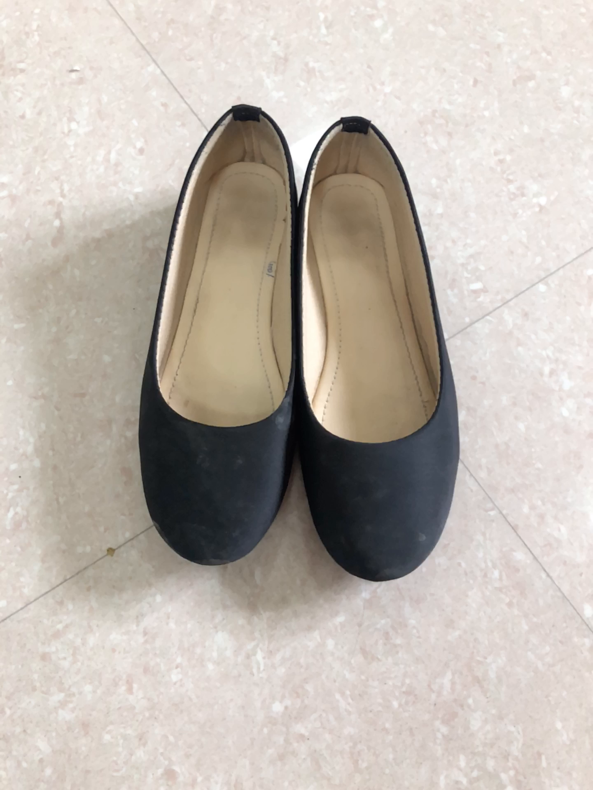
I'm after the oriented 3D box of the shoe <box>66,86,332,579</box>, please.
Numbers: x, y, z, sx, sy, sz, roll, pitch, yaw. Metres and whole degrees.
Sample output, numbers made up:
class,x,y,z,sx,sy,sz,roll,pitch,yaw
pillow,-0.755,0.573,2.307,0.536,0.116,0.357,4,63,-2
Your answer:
class,x,y,z,sx,sy,sz,roll,pitch,yaw
shoe,-0.037,-0.035,0.342,0.092,0.075,0.239,5,70,1

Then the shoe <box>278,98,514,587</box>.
class,x,y,z,sx,sy,sz,roll,pitch,yaw
shoe,0.038,-0.029,0.339,0.092,0.075,0.239,-1,70,0
